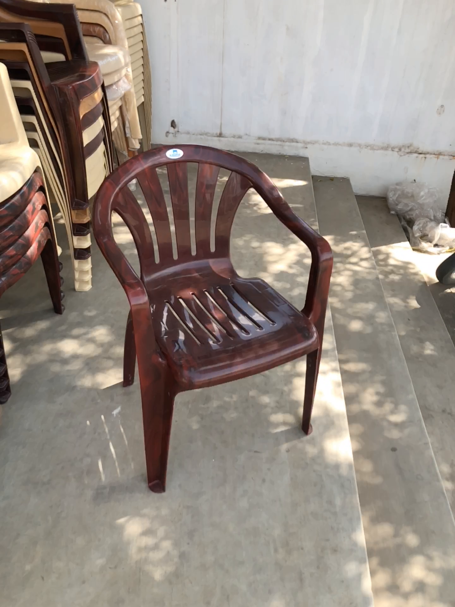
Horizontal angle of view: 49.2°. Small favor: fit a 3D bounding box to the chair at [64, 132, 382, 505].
[{"bbox_3d":[-0.049,0.013,1.399,0.582,0.766,0.521,-15,40,-24],"label":"chair"}]
